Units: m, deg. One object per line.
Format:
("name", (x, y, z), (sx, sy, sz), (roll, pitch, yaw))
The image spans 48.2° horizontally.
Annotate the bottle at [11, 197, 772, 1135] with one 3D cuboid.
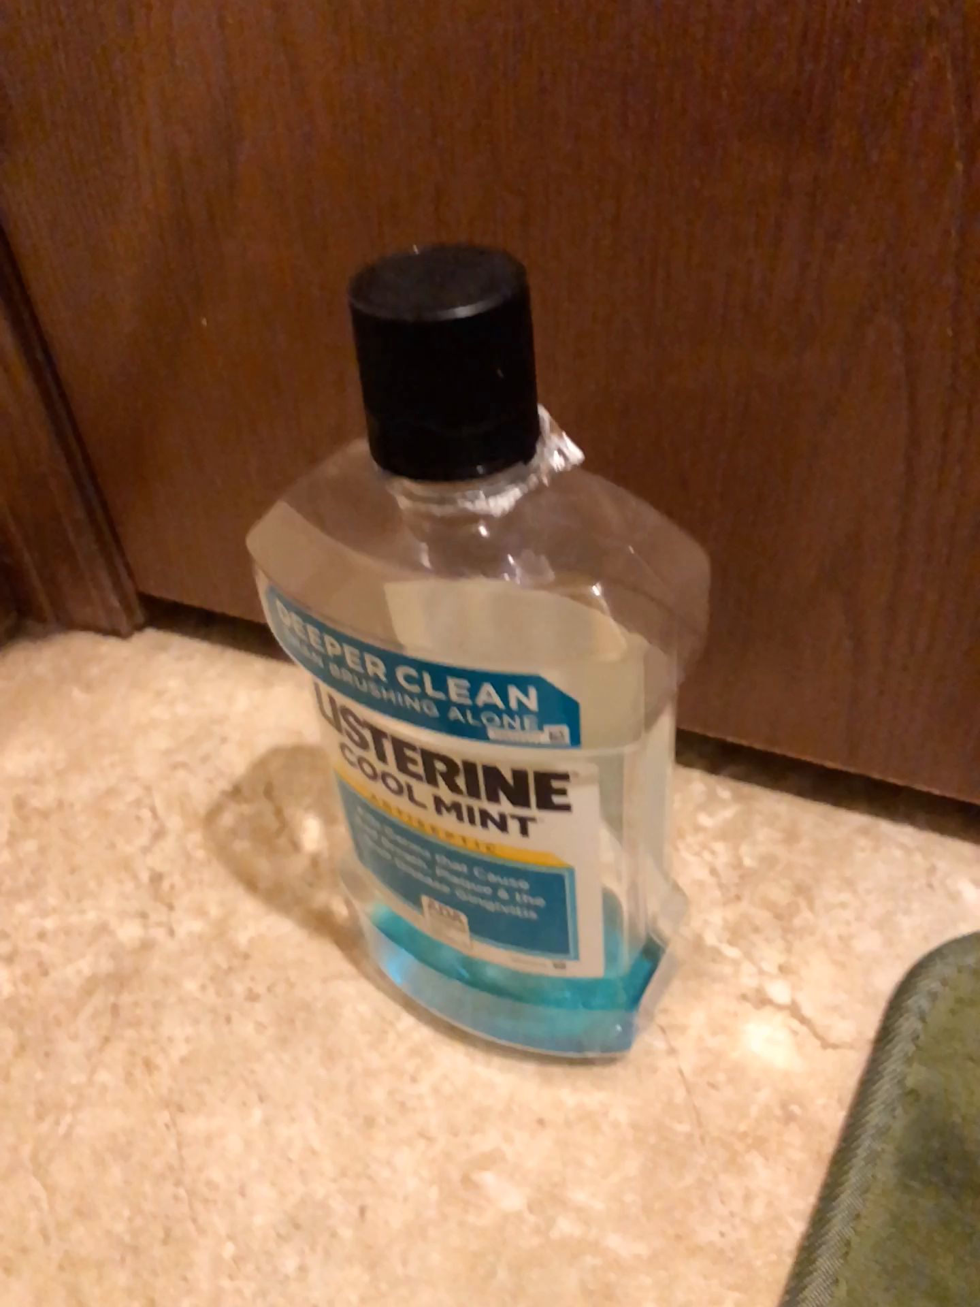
("bottle", (-0.011, 0.010, 0.298), (0.130, 0.219, 0.090), (18, 47, 26))
